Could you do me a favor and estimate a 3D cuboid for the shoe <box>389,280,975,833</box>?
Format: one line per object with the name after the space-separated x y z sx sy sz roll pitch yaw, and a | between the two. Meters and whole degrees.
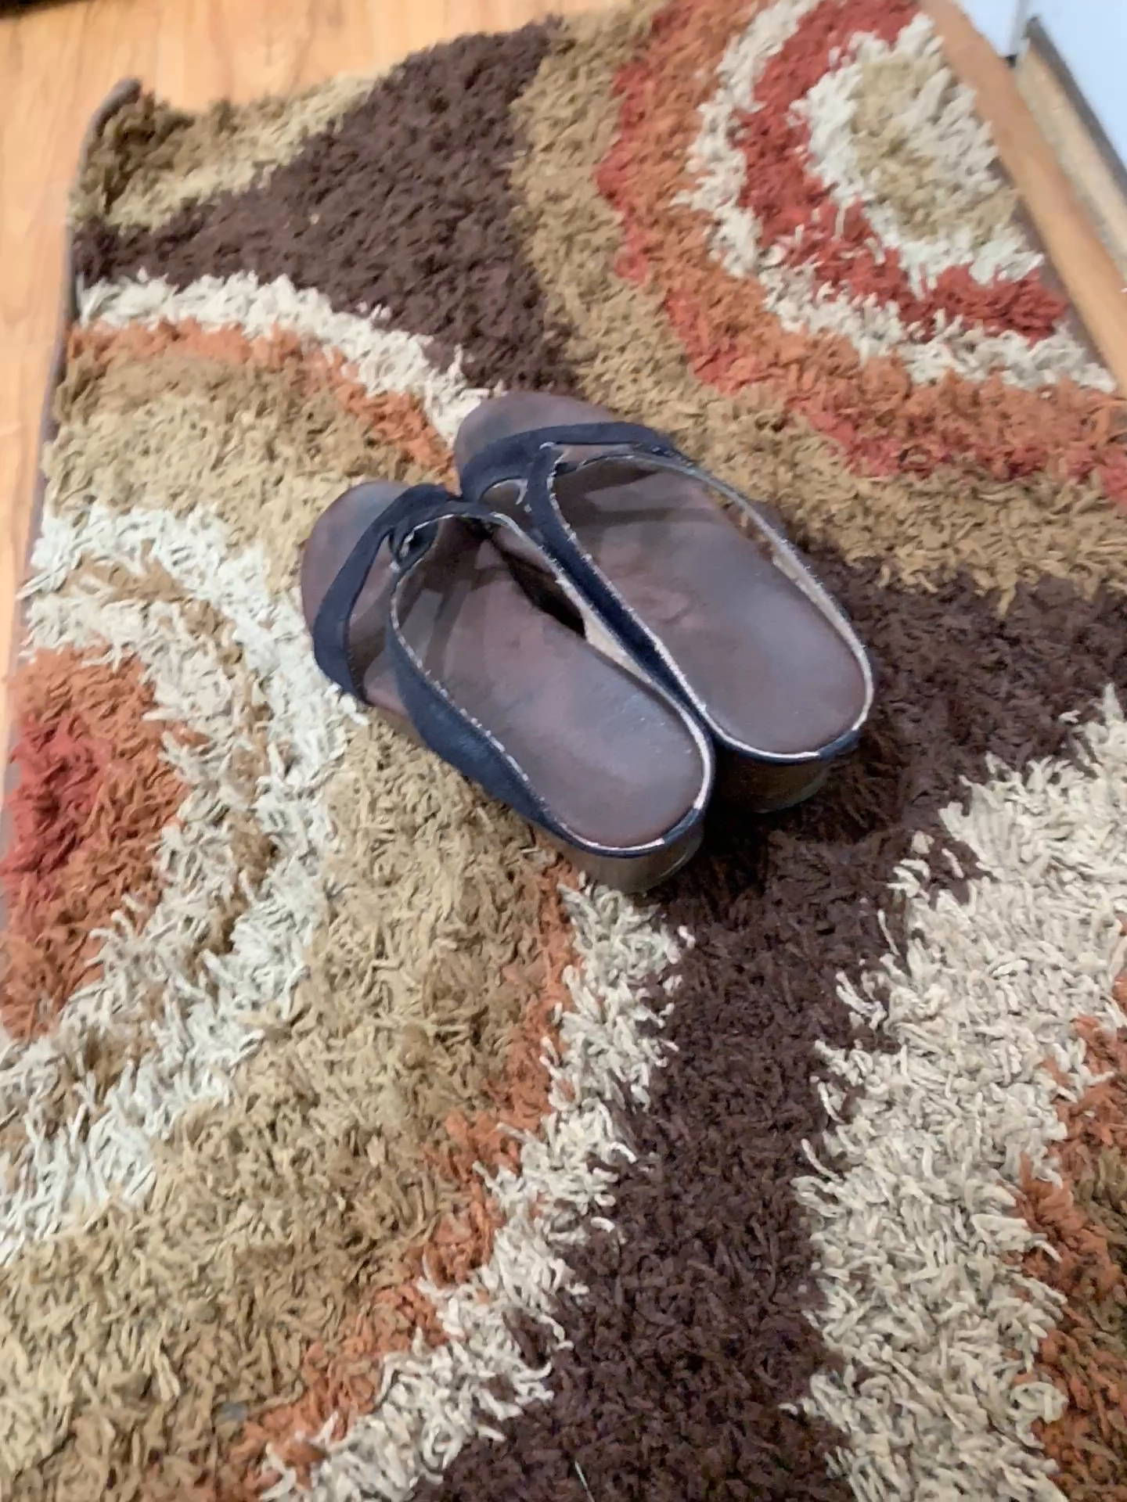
0.035 -0.082 0.437 0.084 0.052 0.224 -37 63 -11 | shoe

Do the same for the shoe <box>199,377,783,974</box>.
-0.031 -0.036 0.431 0.090 0.062 0.223 -39 63 -12 | shoe
